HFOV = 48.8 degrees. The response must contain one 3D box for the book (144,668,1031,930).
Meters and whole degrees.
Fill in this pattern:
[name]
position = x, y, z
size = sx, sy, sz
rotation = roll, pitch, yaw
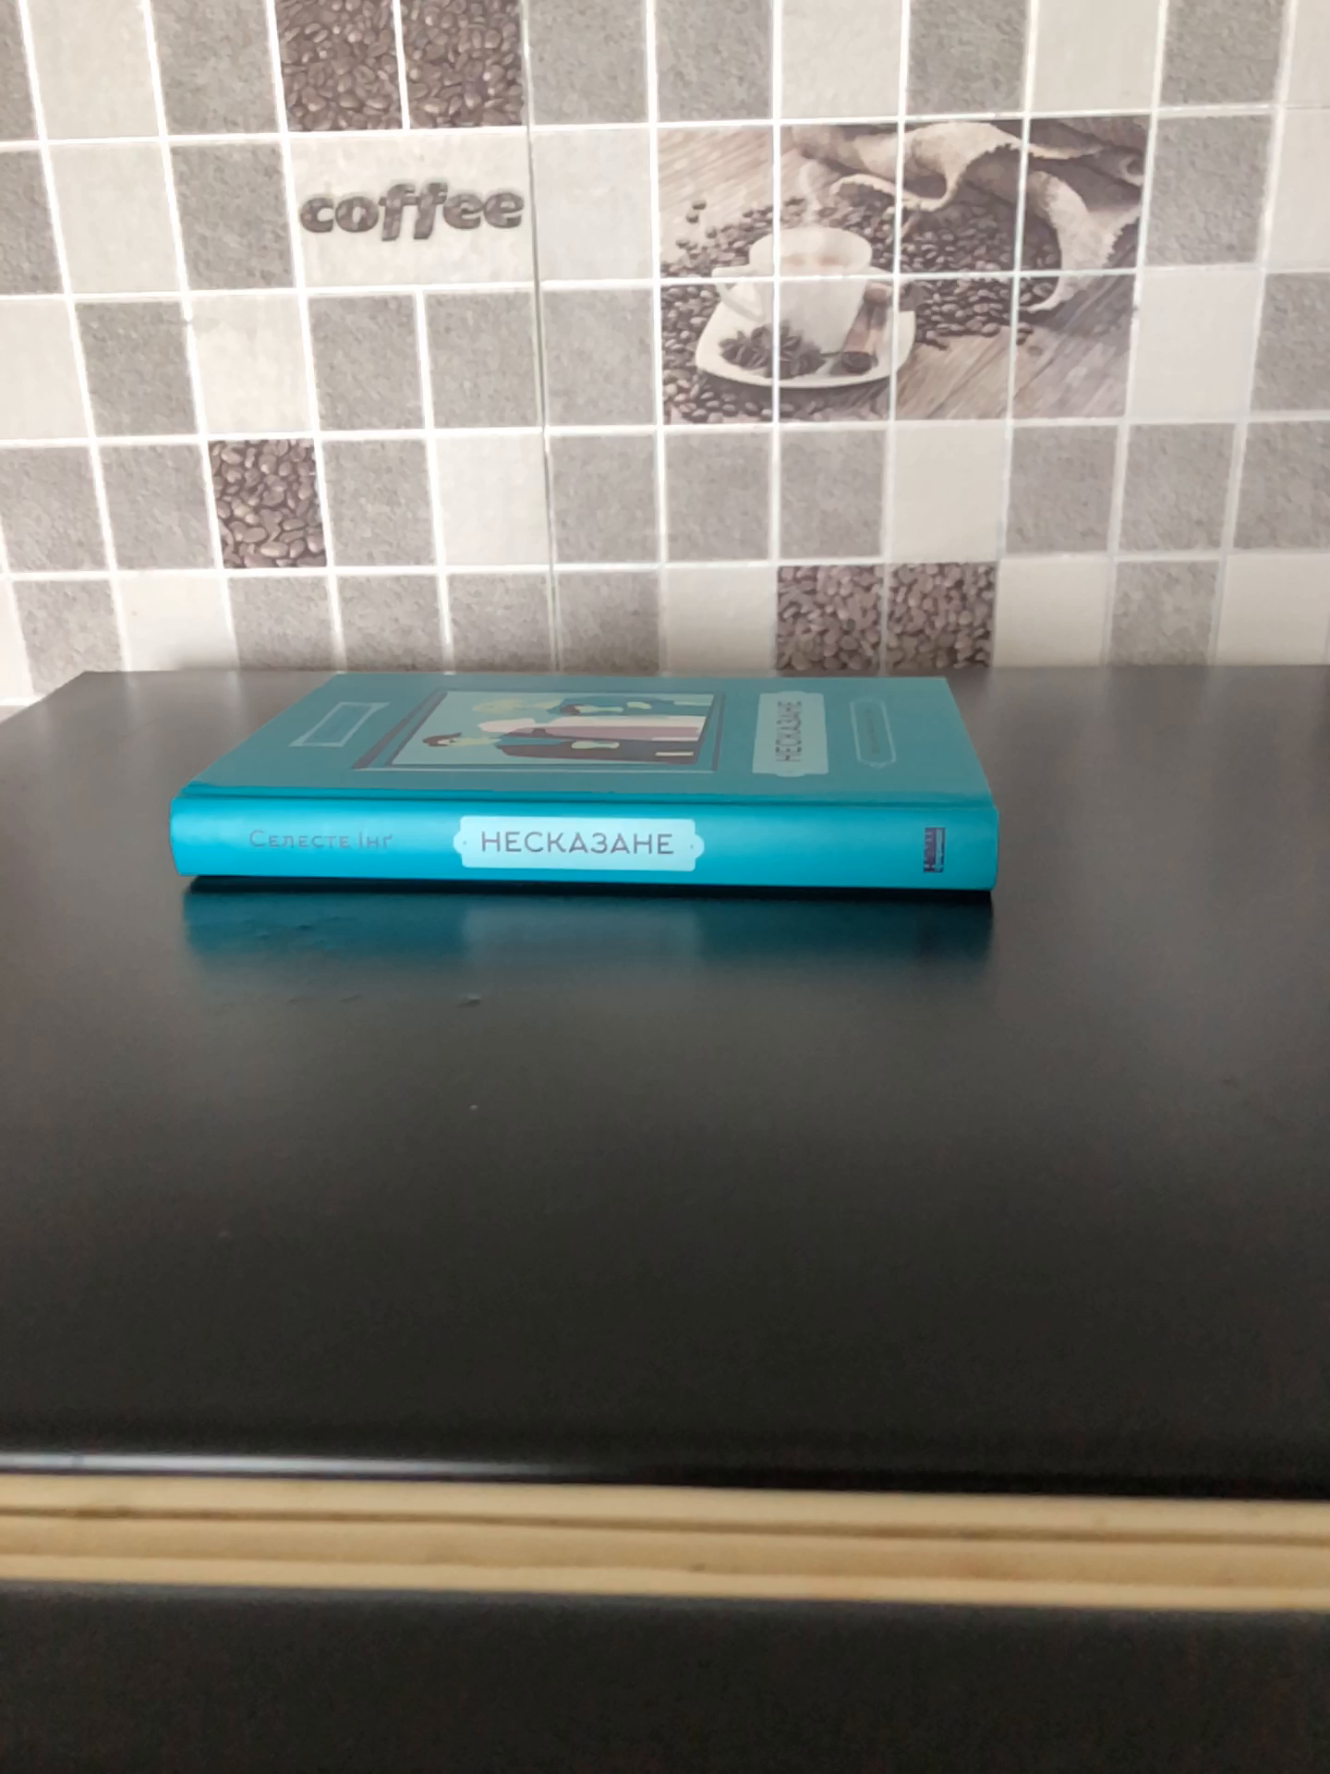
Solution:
[book]
position = -0.015, -0.033, 0.436
size = 0.220, 0.030, 0.152
rotation = 1, 21, 5
